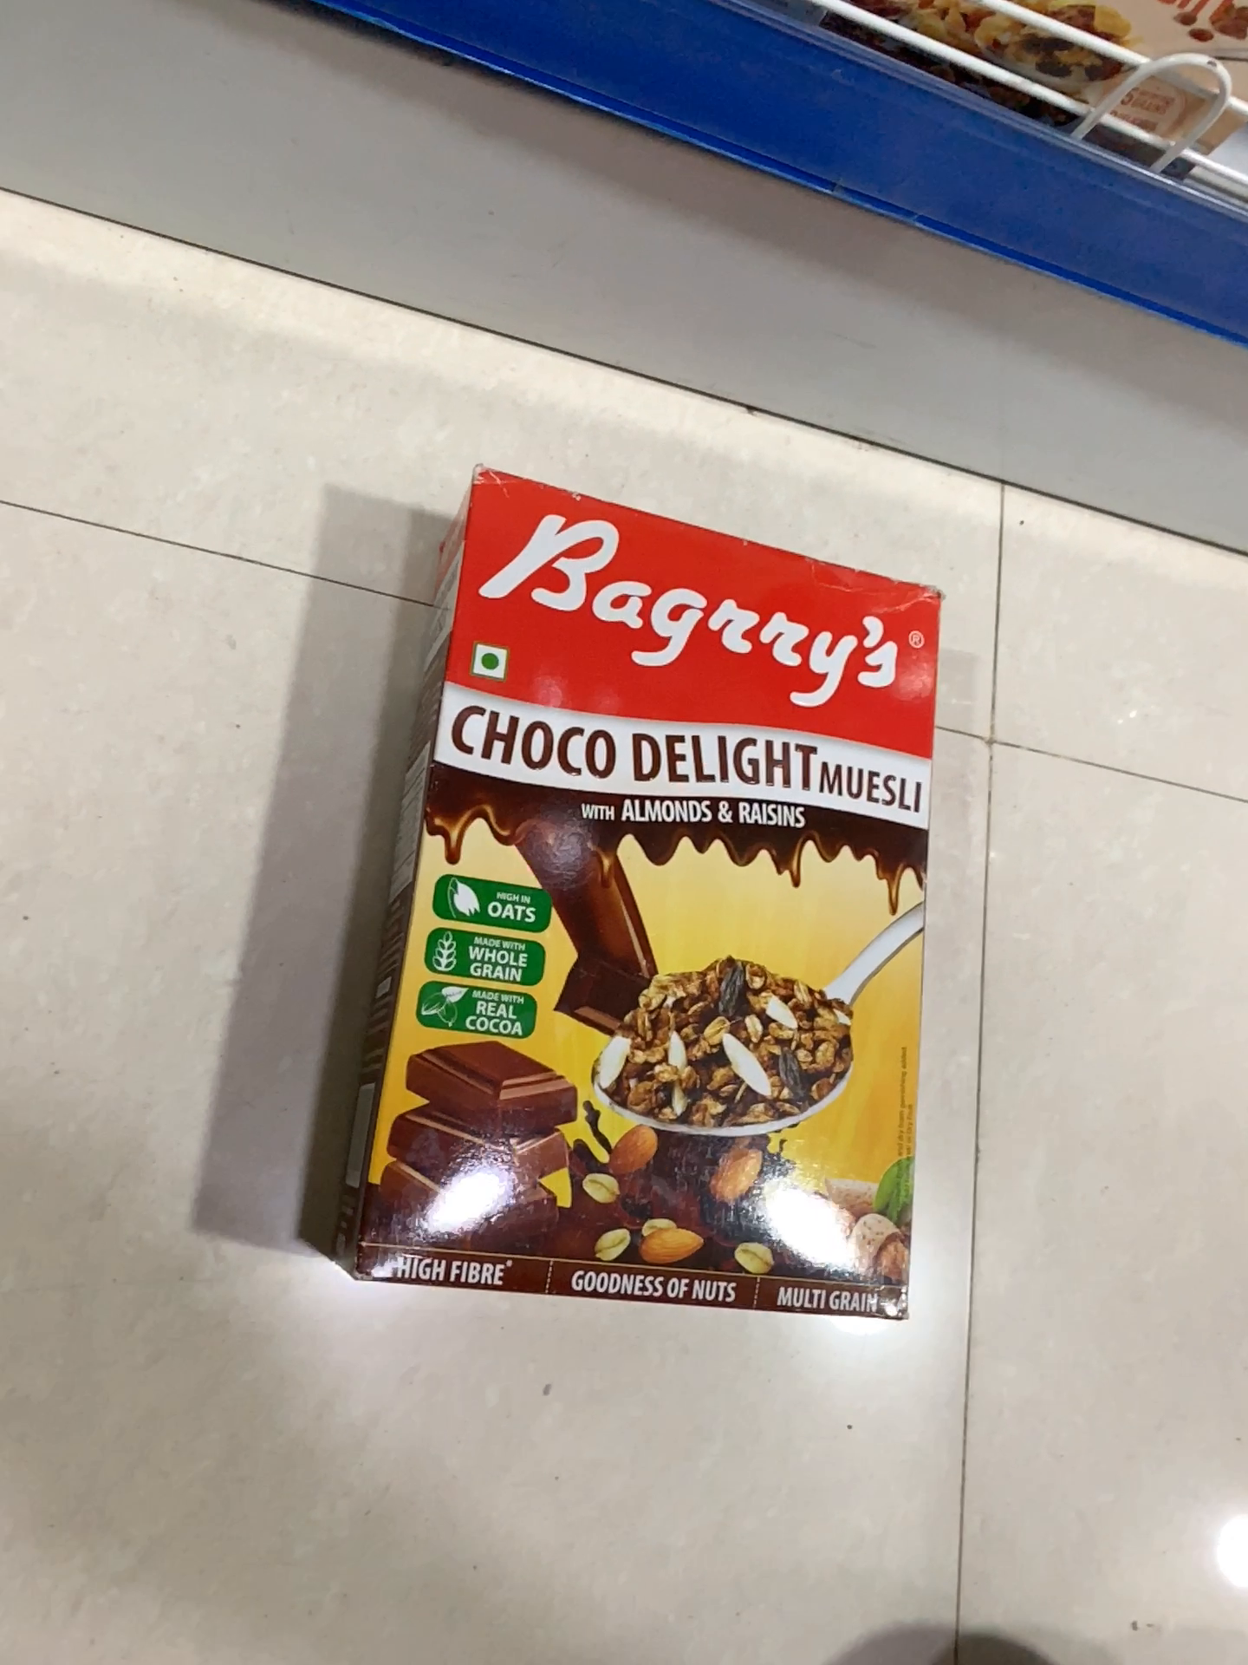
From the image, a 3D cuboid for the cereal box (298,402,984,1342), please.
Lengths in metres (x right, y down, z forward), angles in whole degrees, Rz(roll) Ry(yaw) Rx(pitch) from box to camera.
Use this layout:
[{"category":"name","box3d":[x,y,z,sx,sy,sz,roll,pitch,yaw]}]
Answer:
[{"category":"cereal box","box3d":[0.014,0.019,0.453,0.200,0.080,0.280,11,74,-17]}]
